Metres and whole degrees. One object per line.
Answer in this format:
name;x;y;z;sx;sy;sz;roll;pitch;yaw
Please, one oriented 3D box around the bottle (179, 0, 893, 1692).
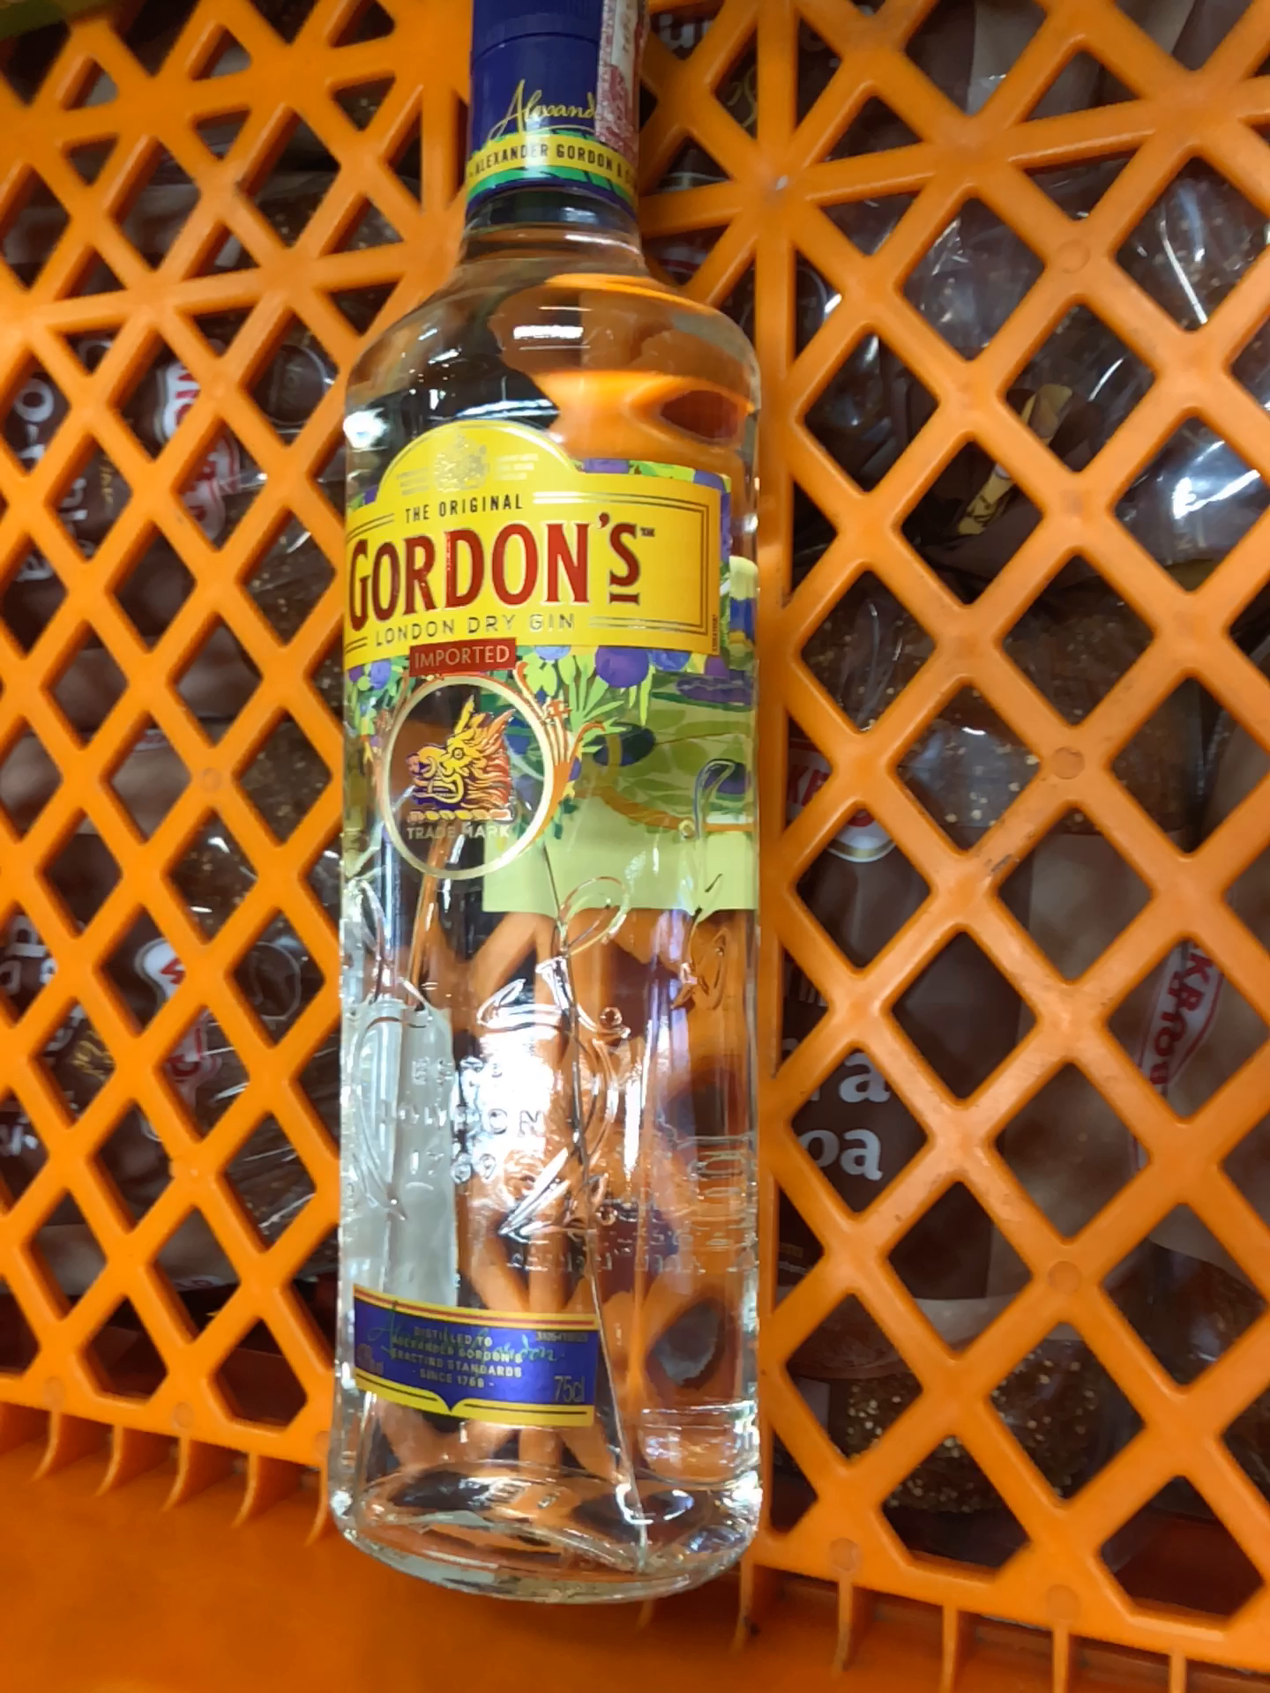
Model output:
bottle;-0.011;-0.028;0.264;0.100;0.100;0.310;0;90;20
